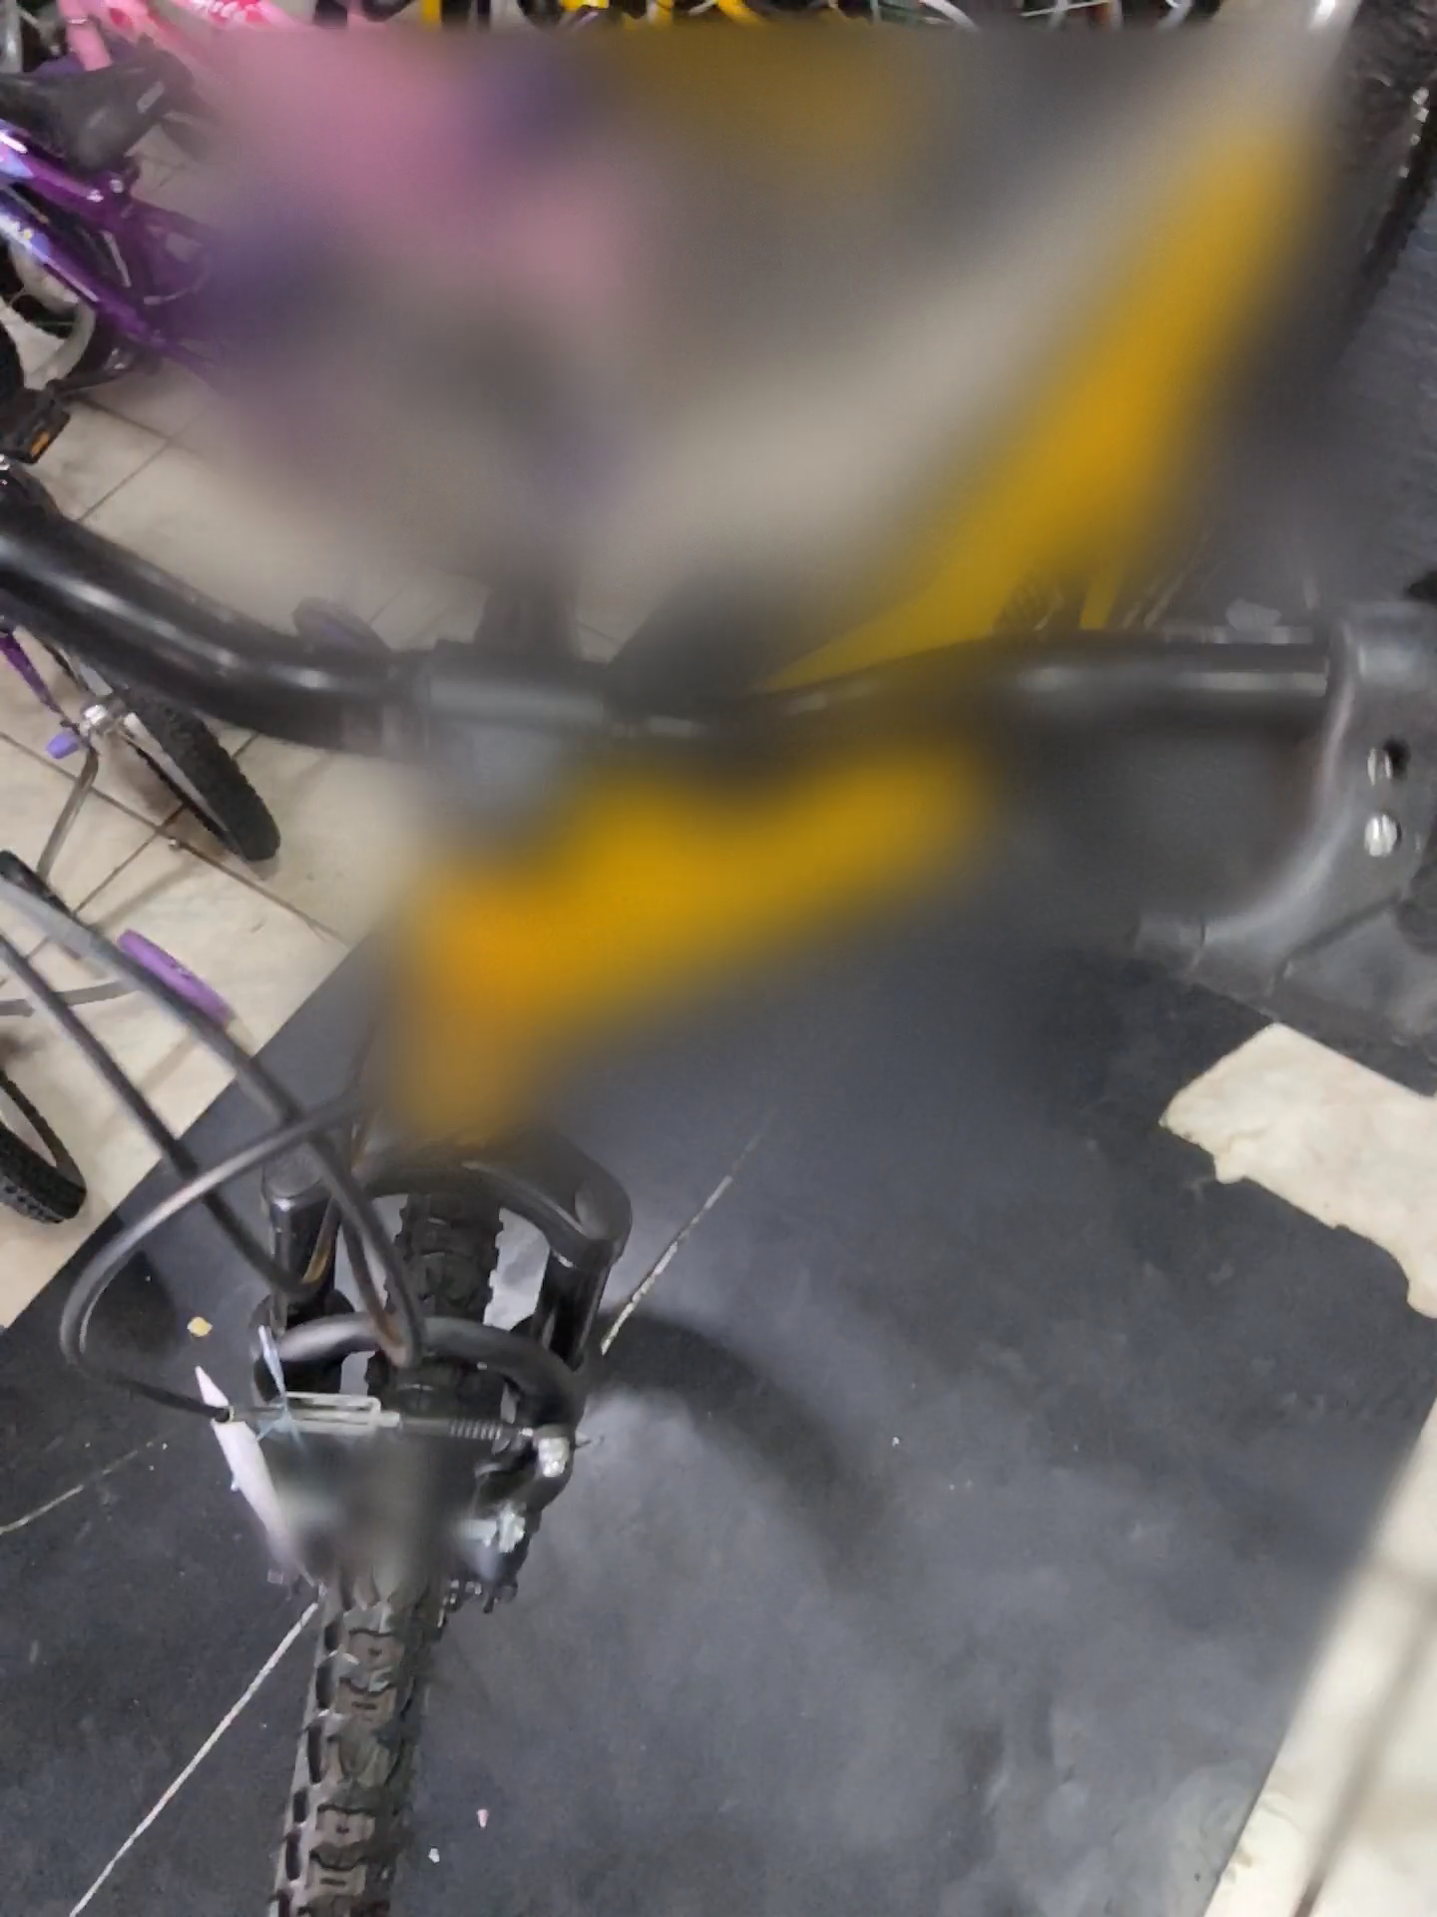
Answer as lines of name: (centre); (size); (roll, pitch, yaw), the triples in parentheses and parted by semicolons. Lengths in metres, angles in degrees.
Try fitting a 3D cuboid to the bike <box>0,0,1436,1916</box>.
bike: (0.137, -0.165, 0.721); (0.476, 0.988, 1.524); (22, 62, 21)
